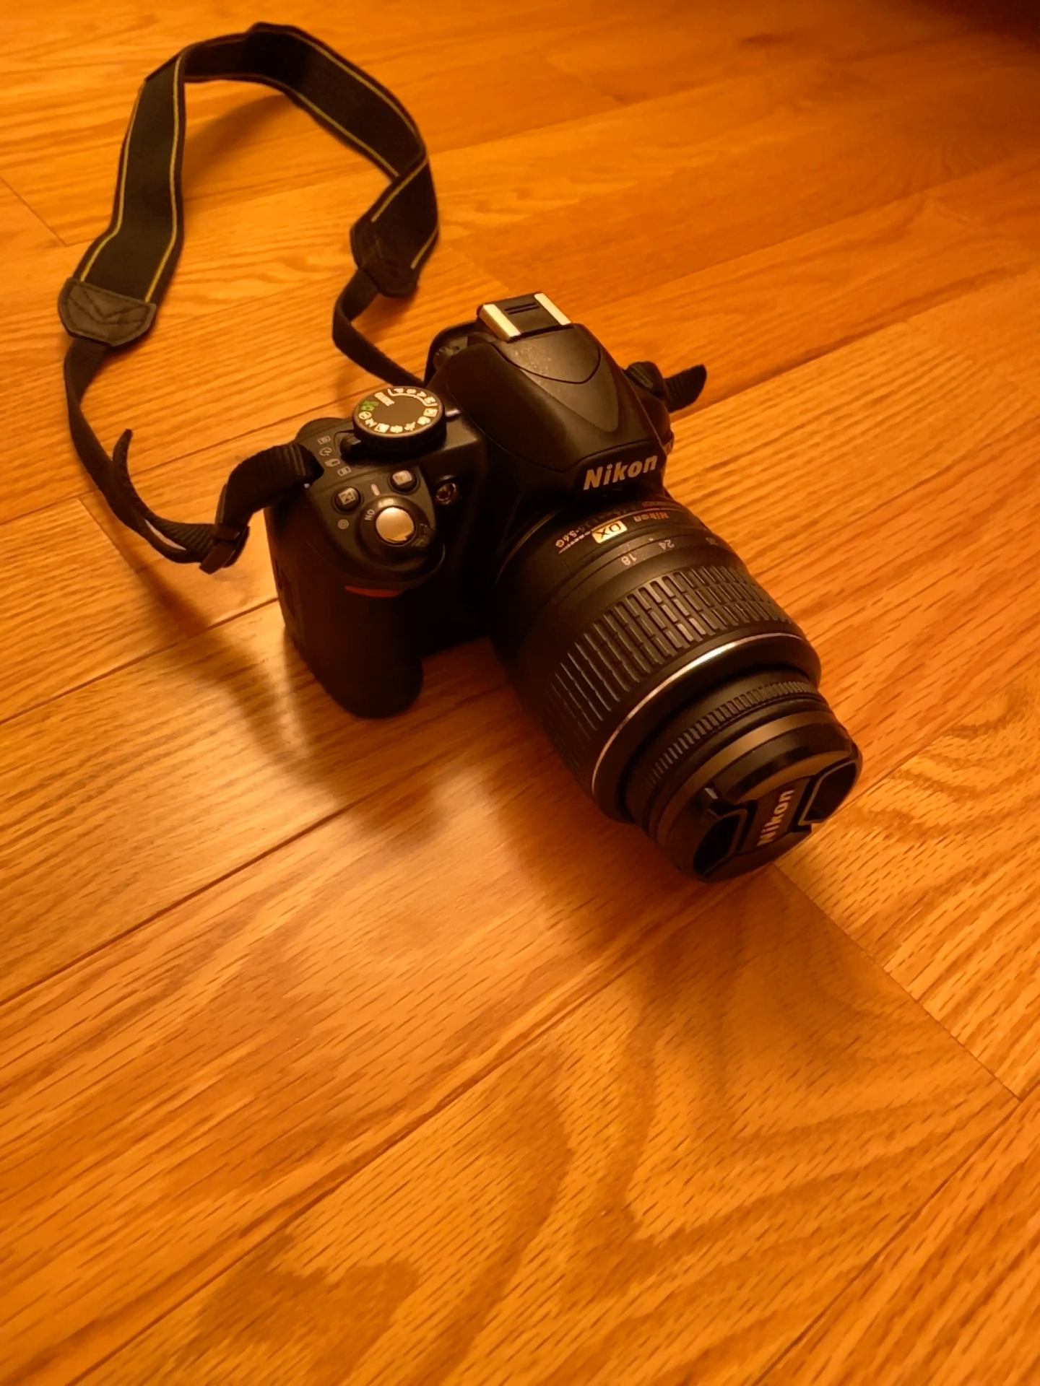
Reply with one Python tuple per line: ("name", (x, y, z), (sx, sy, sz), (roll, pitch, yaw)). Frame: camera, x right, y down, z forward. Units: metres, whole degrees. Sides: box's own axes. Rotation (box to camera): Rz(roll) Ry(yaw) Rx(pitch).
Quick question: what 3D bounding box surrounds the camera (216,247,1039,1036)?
("camera", (0.016, -0.026, 0.293), (0.130, 0.099, 0.161), (-22, 54, -22))
